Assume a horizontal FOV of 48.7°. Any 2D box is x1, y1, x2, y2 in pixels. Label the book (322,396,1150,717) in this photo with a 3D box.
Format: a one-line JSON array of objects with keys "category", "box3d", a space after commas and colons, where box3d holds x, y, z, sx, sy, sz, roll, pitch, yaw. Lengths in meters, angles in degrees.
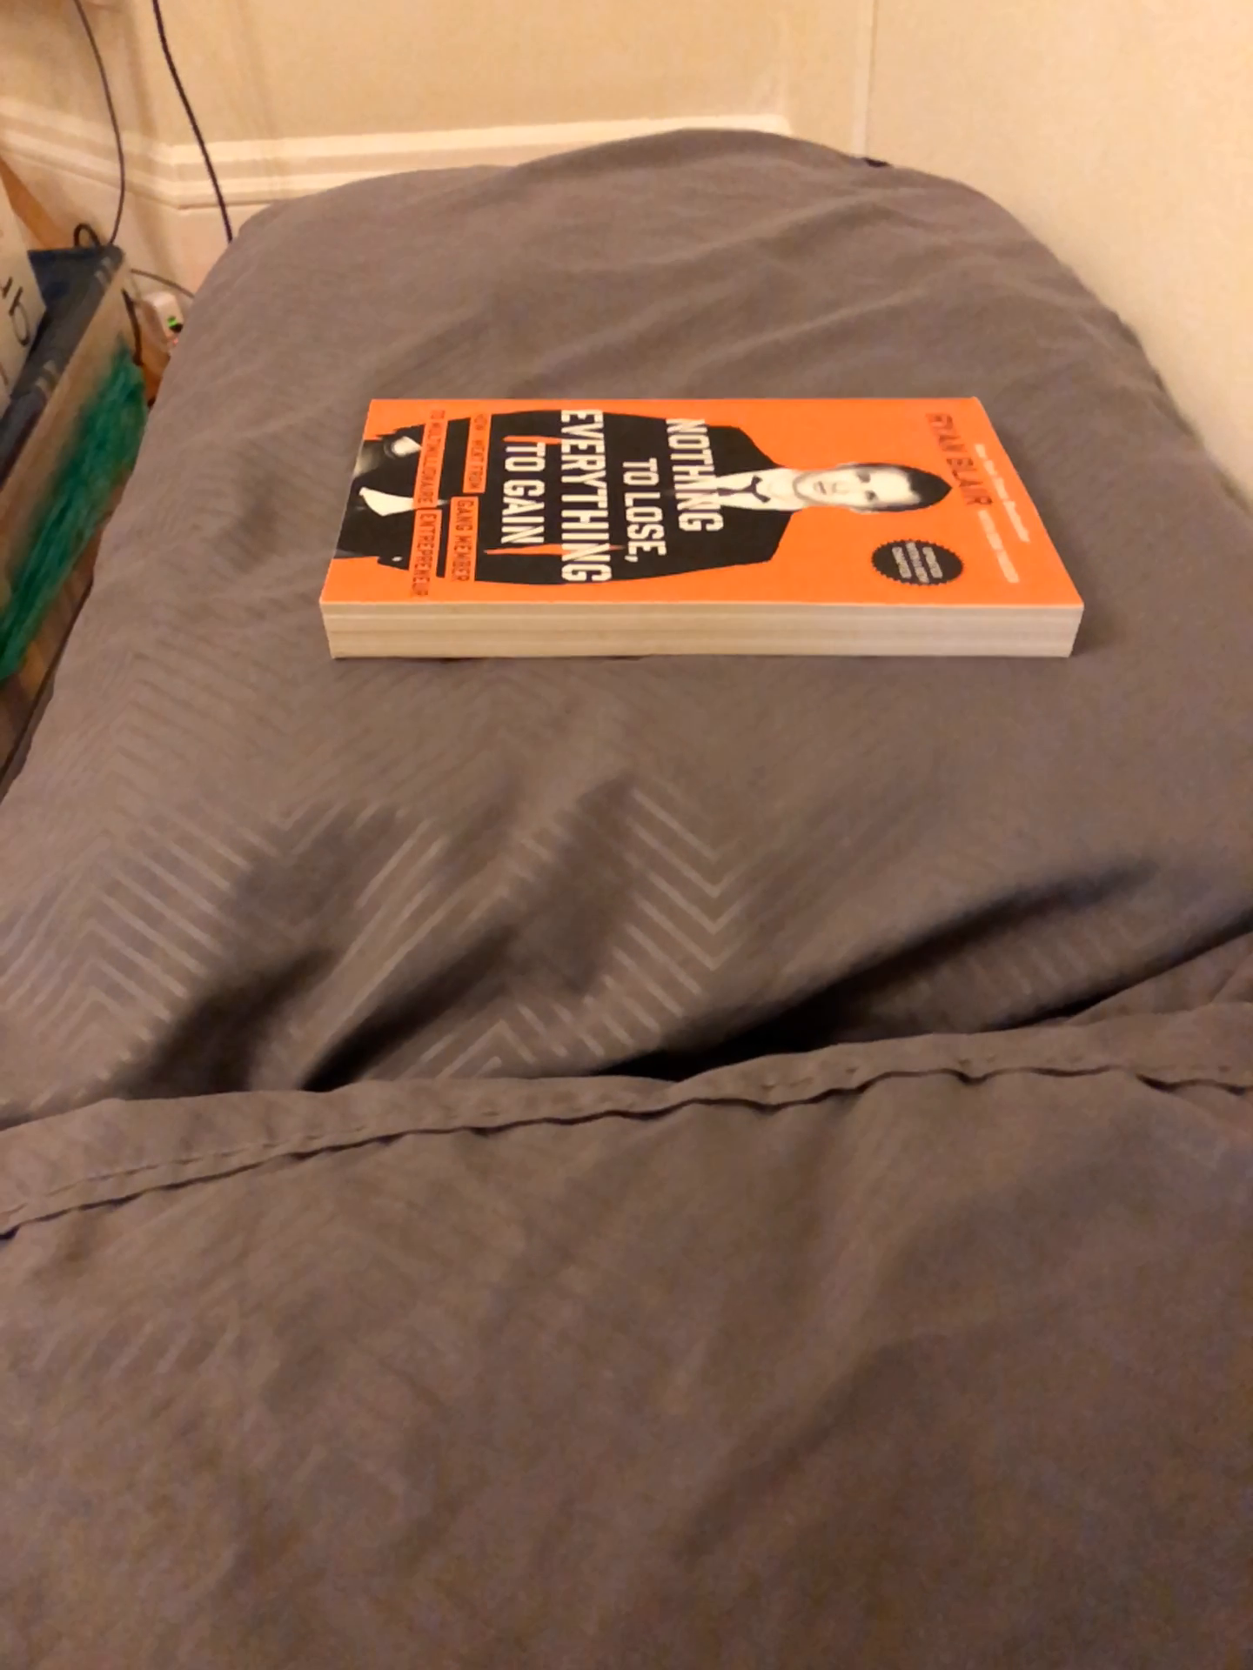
[{"category": "book", "box3d": [0.029, -0.095, 0.444, 0.230, 0.020, 0.151, -1, 45, -2]}]
